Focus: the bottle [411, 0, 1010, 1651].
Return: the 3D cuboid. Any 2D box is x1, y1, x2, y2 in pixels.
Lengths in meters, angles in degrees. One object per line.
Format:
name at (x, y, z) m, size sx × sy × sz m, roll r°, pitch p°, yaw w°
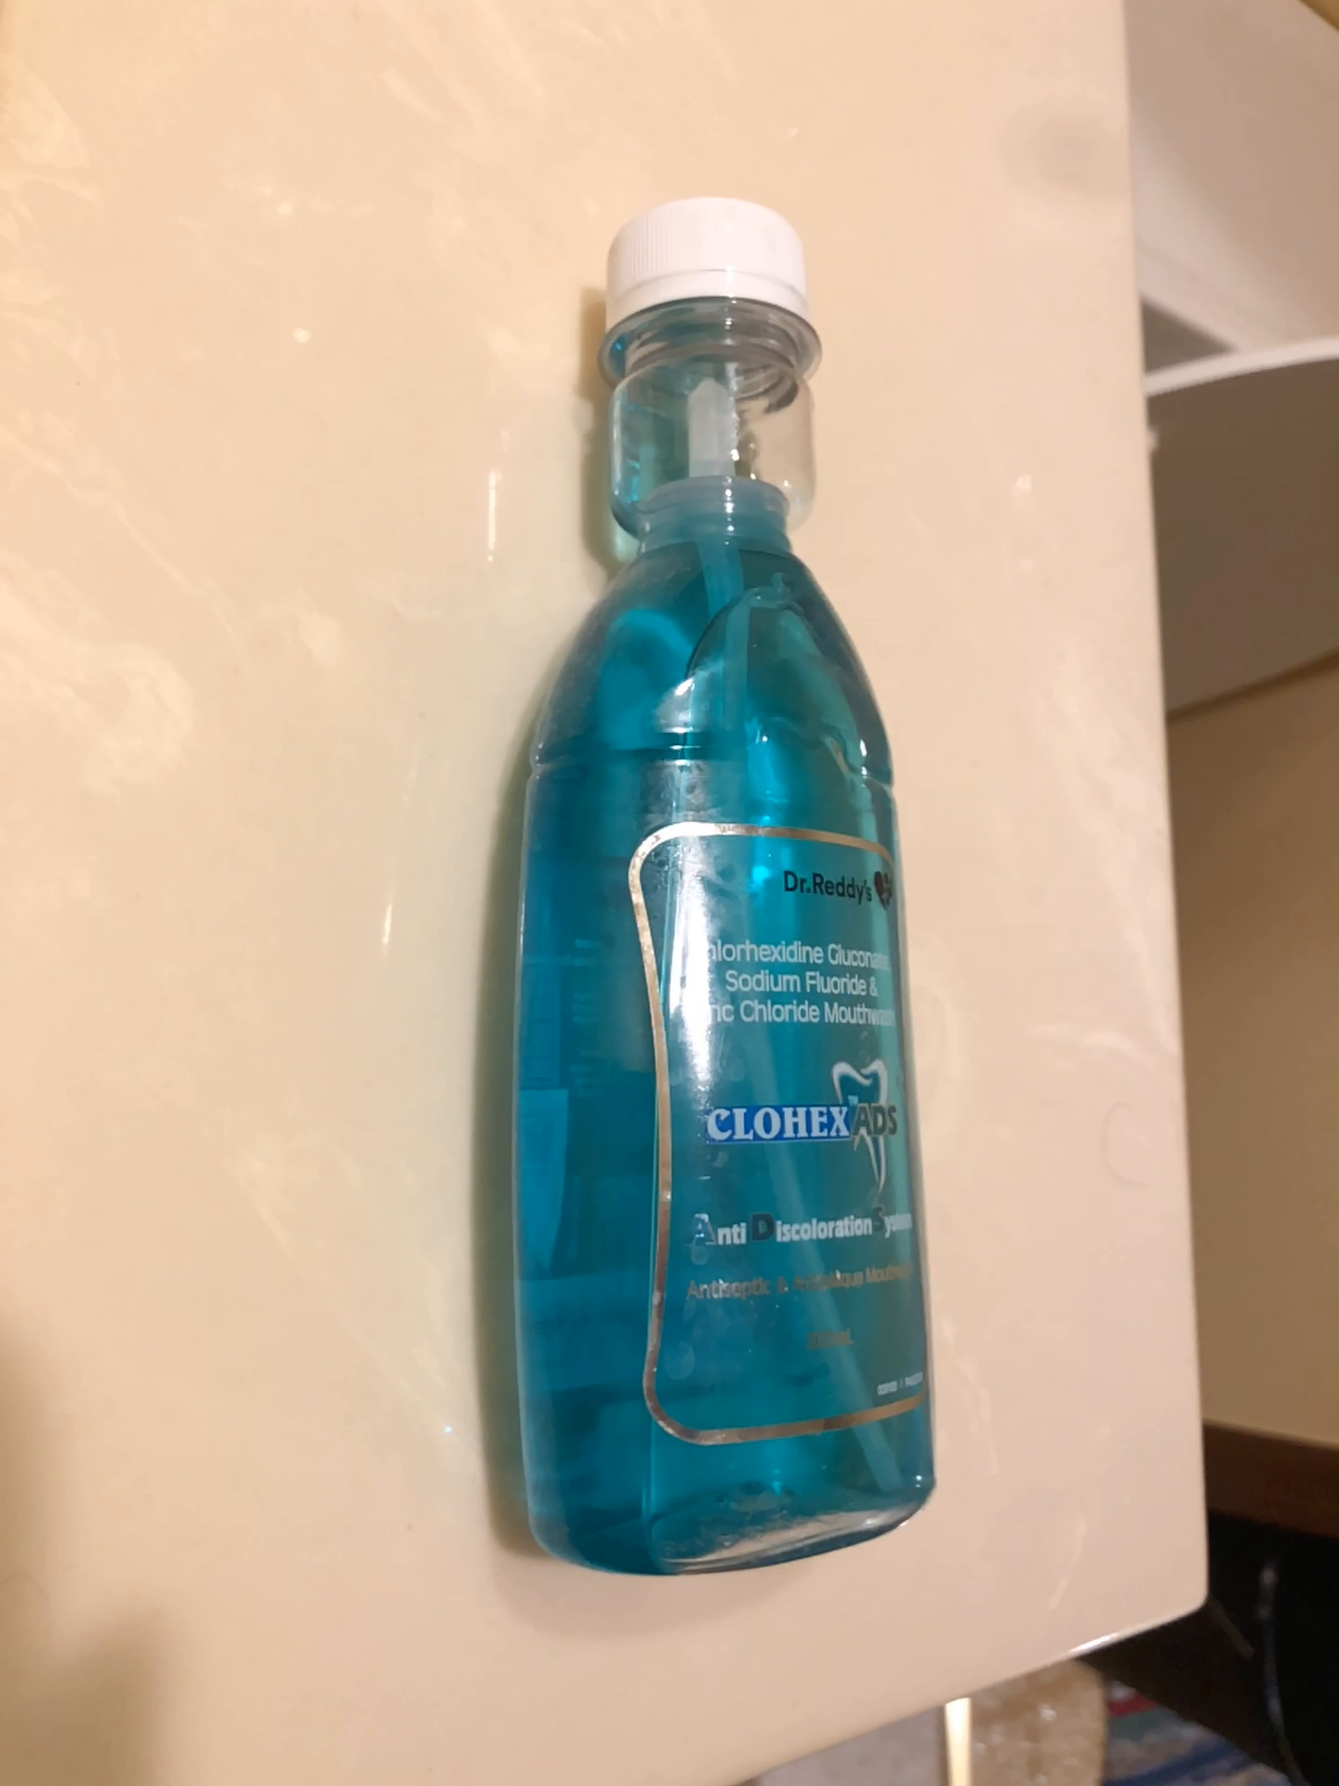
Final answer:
bottle at (0.005, -0.017, 0.214) m, size 0.070 × 0.040 × 0.210 m, roll 5°, pitch 80°, yaw -37°
